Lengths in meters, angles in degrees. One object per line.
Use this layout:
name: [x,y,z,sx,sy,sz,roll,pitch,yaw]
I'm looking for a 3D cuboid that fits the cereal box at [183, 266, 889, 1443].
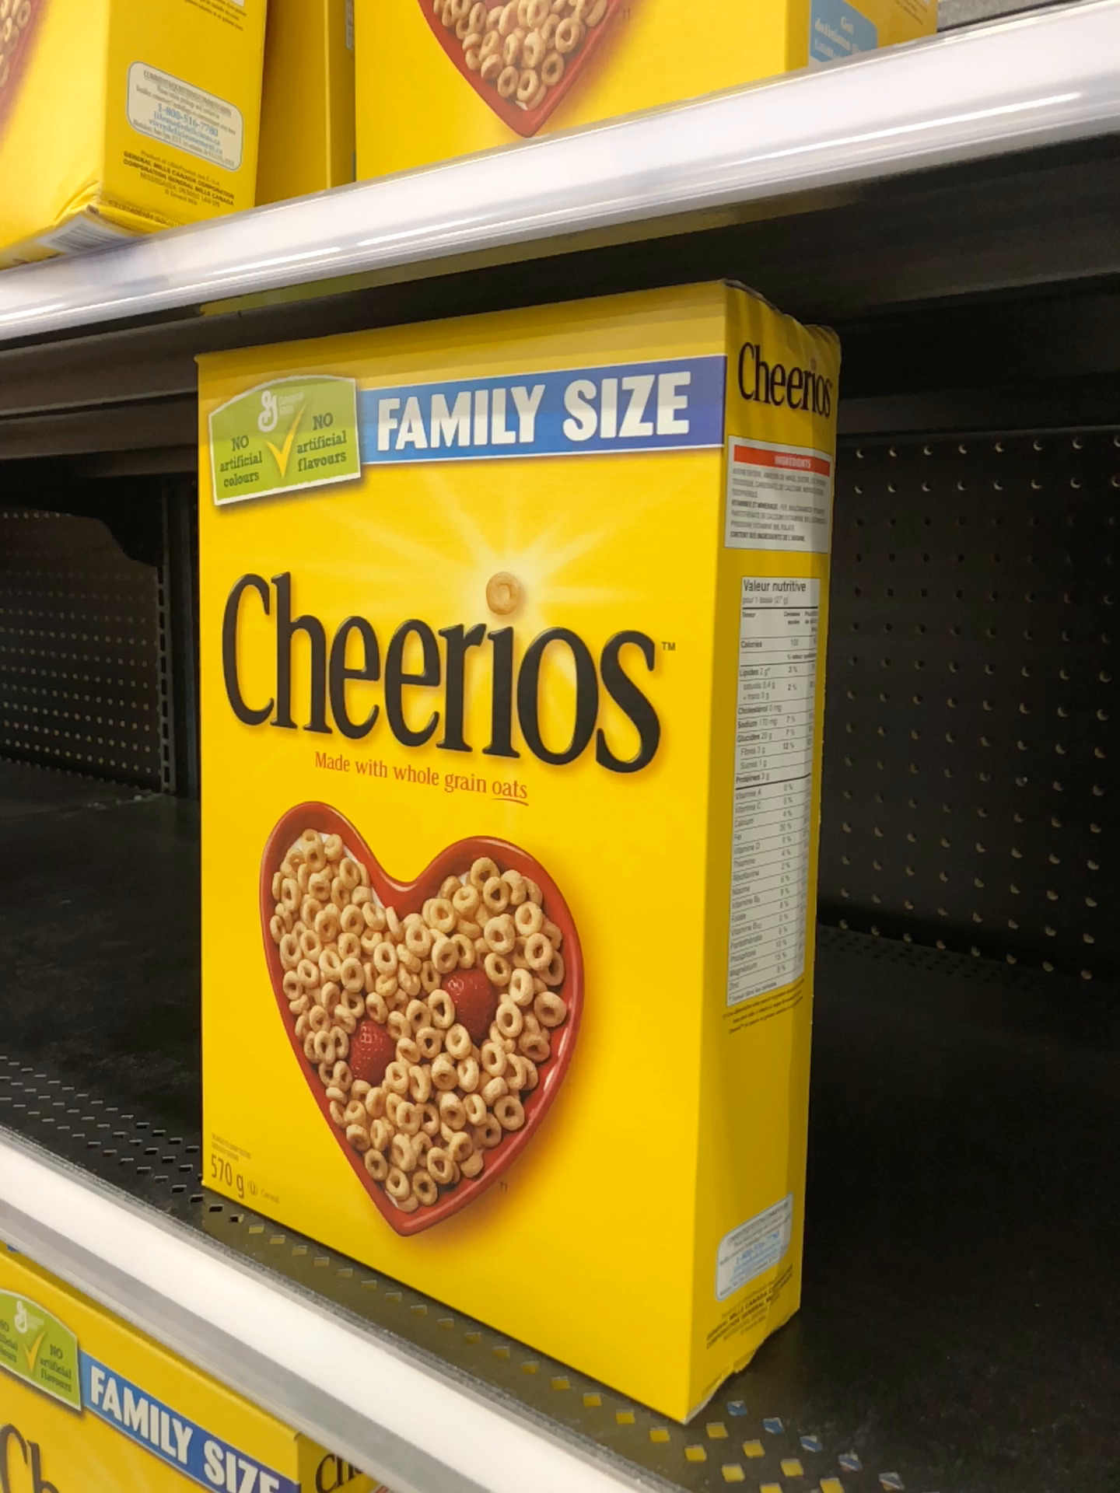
cereal box: [-0.022,0.023,0.453,0.240,0.339,0.090,7,10,35]
